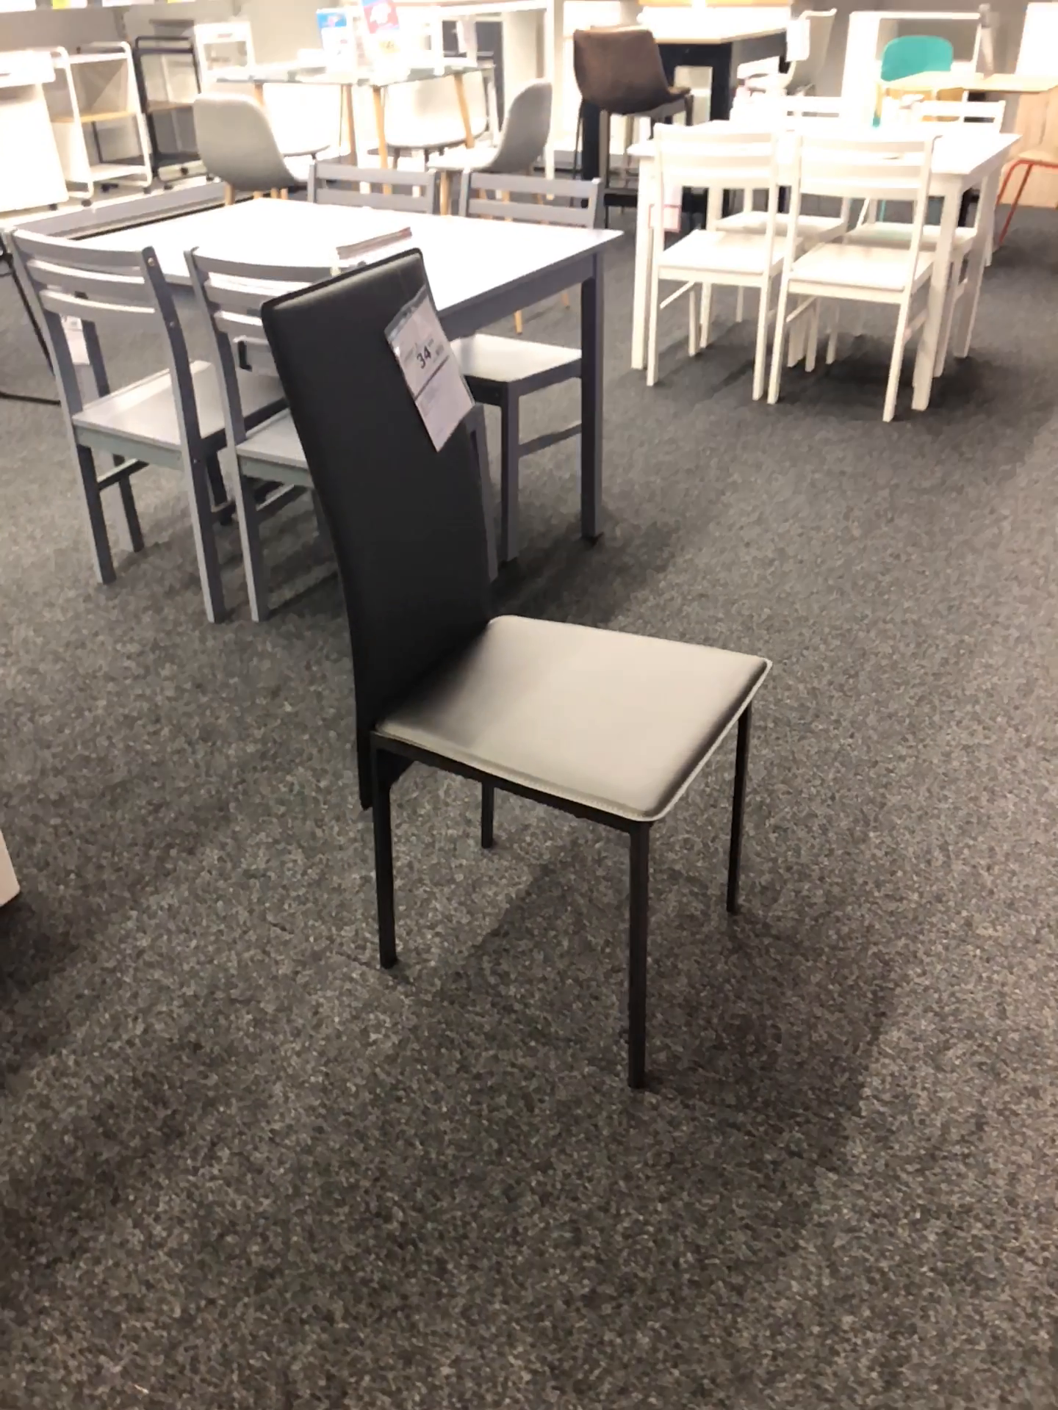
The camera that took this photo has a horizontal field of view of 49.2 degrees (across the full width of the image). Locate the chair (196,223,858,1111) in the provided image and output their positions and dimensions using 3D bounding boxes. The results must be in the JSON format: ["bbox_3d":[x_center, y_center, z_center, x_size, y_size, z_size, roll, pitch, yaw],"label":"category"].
[{"bbox_3d":[0.023,-0.066,1.499,0.560,0.934,0.473,15,36,24],"label":"chair"}]
